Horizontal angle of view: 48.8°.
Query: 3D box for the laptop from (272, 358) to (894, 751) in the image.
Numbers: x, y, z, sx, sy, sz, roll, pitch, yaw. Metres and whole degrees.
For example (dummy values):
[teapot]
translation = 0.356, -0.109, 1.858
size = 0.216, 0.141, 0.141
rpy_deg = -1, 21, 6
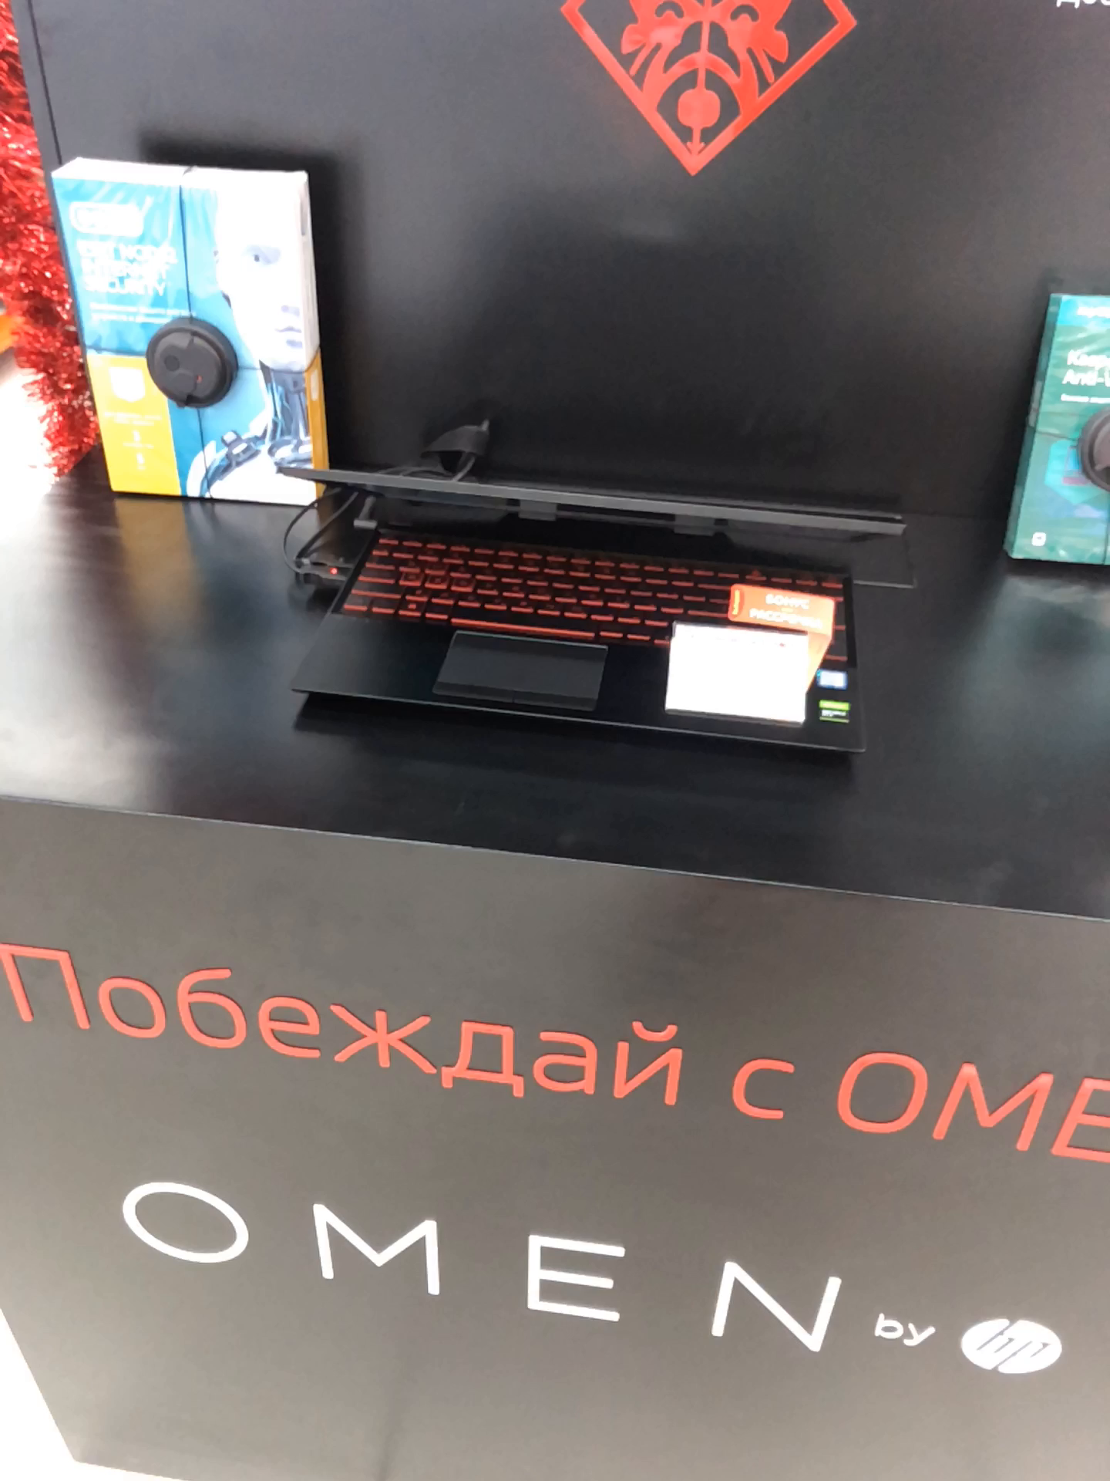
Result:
[laptop]
translation = 0.026, -0.135, 0.801
size = 0.350, 0.121, 0.232
rpy_deg = 7, 38, 9
